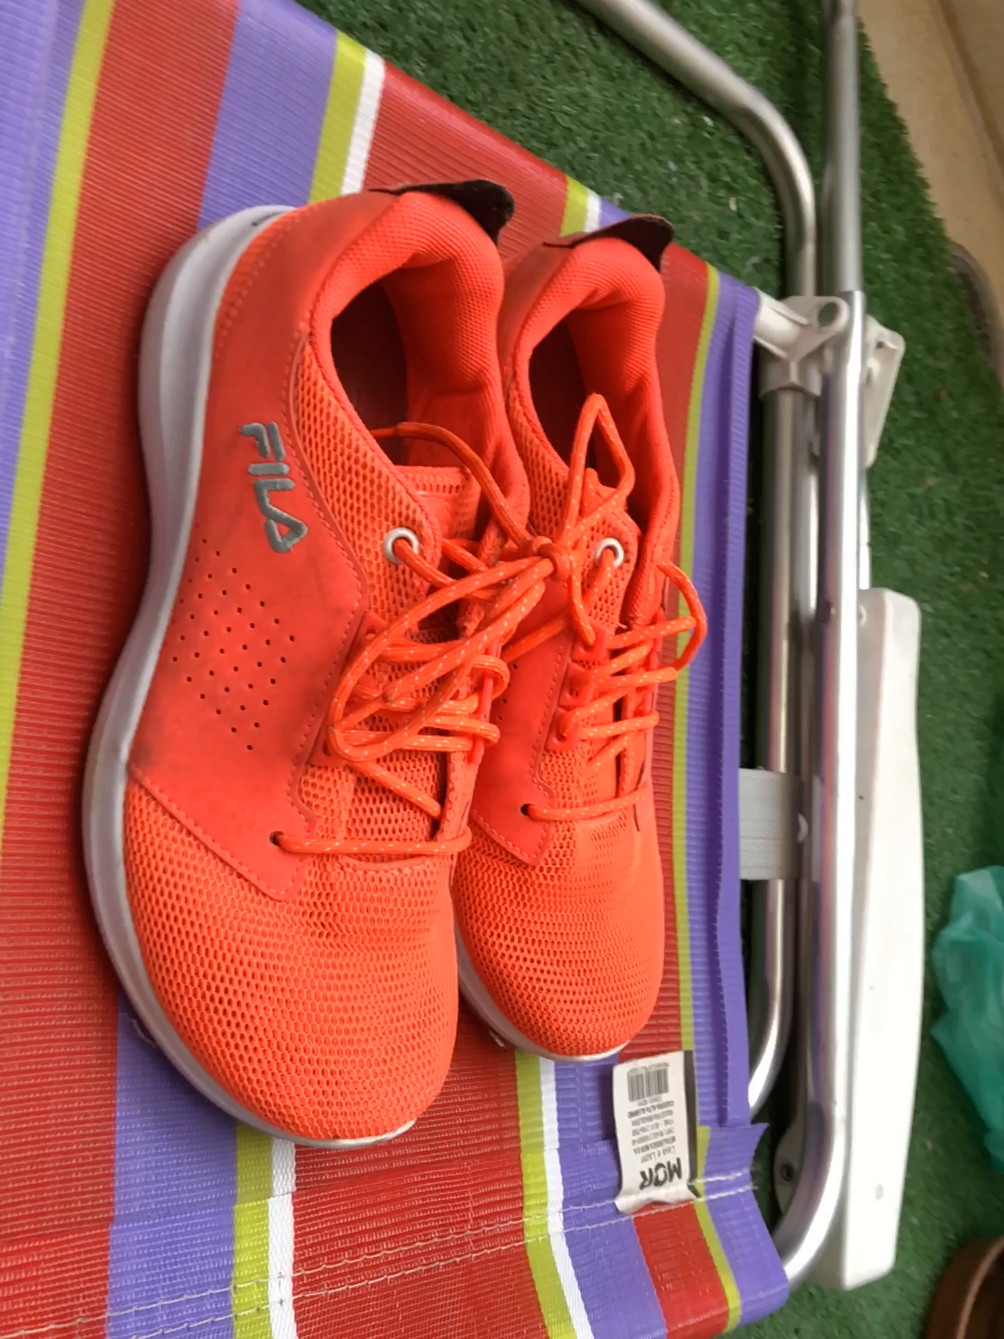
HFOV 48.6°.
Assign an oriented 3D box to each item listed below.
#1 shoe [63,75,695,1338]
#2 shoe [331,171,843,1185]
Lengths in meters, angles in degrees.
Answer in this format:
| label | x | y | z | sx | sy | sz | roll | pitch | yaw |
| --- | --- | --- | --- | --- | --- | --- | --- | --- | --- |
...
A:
| label | x | y | z | sx | sy | sz | roll | pitch | yaw |
| --- | --- | --- | --- | --- | --- | --- | --- | --- | --- |
| shoe | -0.031 | 0.014 | 0.259 | 0.101 | 0.099 | 0.230 | 3 | 83 | -46 |
| shoe | 0.024 | 0.002 | 0.340 | 0.101 | 0.089 | 0.250 | -3 | 87 | -40 |
